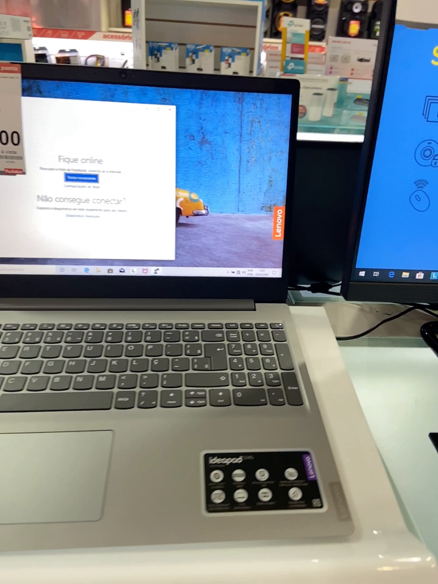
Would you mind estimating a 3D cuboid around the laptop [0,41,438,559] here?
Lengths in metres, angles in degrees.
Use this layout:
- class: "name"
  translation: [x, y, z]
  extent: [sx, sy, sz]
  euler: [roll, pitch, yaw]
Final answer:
- class: "laptop"
  translation: [-0.092, -0.046, 0.386]
  extent: [0.362, 0.224, 0.361]
  euler: [1, 34, -5]
